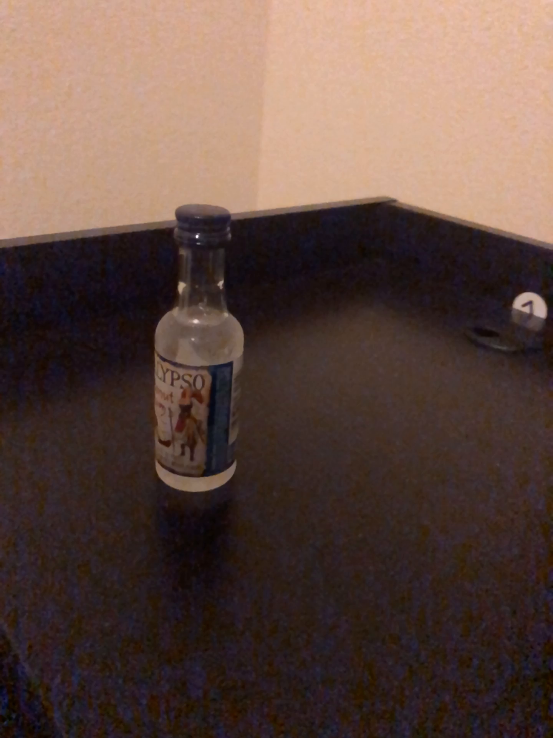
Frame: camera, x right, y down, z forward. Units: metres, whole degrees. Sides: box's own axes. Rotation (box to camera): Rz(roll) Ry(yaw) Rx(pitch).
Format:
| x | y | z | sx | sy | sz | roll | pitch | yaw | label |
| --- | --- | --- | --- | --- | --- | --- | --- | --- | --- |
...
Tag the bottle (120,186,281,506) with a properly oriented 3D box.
| x | y | z | sx | sy | sz | roll | pitch | yaw | label |
| --- | --- | --- | --- | --- | --- | --- | --- | --- | --- |
| -0.029 | -0.009 | 0.225 | 0.036 | 0.104 | 0.040 | -18 | 33 | -41 | bottle |
